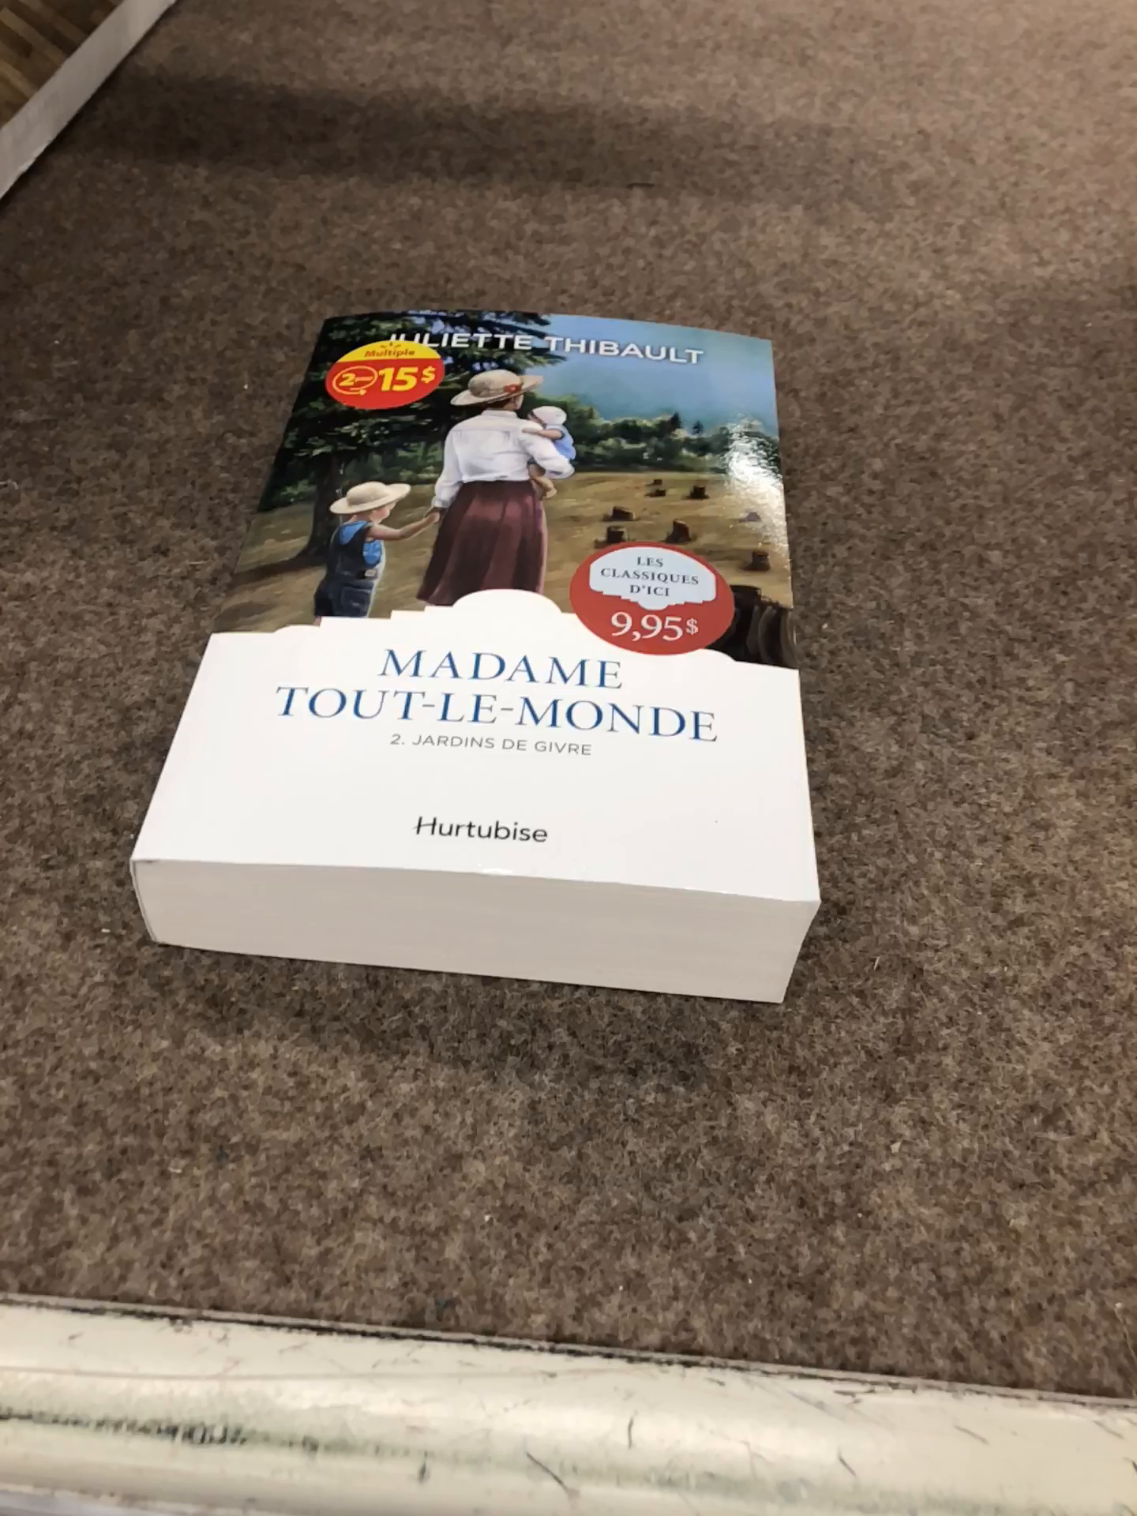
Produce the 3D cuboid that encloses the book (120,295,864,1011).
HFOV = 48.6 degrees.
[{"bbox_3d":[-0.010,-0.045,0.359,0.160,0.050,0.223,3,51,2],"label":"book"}]
